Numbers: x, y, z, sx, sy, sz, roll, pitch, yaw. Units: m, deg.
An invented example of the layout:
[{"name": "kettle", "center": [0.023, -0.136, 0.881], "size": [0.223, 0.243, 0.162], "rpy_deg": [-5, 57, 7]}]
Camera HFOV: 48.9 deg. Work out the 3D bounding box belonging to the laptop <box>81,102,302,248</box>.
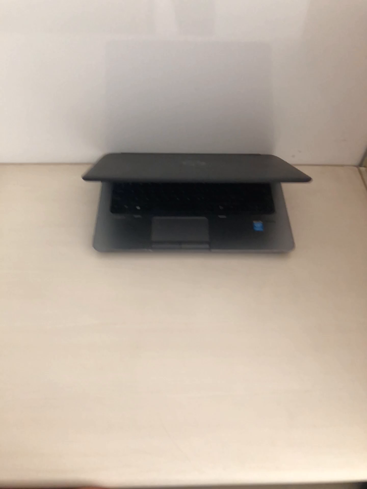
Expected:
[{"name": "laptop", "center": [0.009, -0.122, 0.692], "size": [0.319, 0.118, 0.221], "rpy_deg": [0, 54, -4]}]
